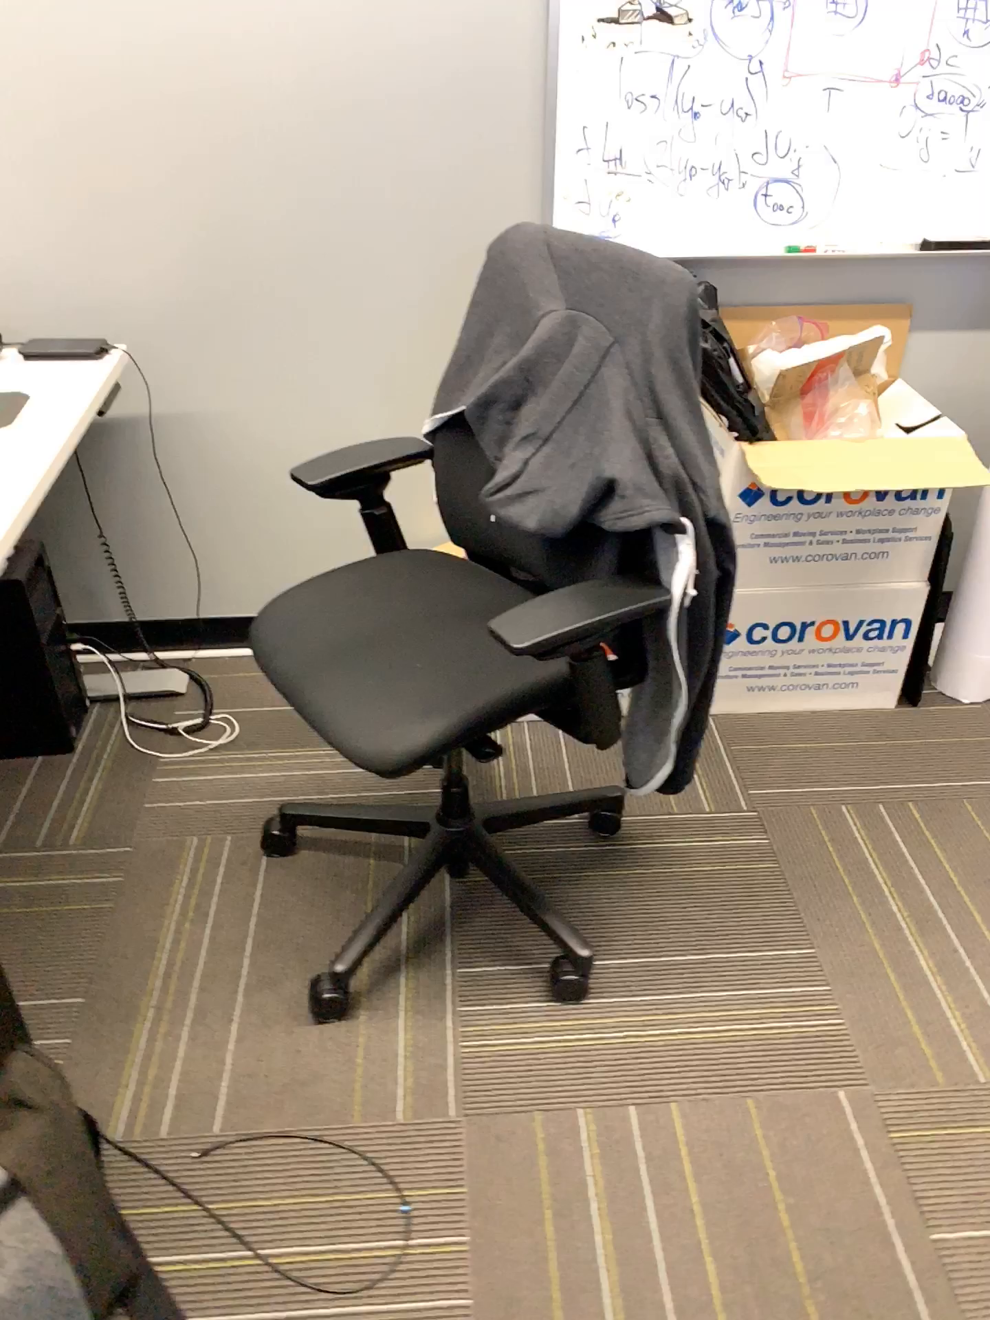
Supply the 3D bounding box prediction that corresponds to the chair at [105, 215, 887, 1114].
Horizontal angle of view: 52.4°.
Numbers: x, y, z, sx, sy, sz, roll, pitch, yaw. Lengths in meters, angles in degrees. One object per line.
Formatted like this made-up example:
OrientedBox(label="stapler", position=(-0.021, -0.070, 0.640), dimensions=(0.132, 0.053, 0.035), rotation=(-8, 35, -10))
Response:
OrientedBox(label="chair", position=(-0.057, -0.058, 1.569), dimensions=(0.730, 0.994, 0.775), rotation=(-16, 37, -22))
